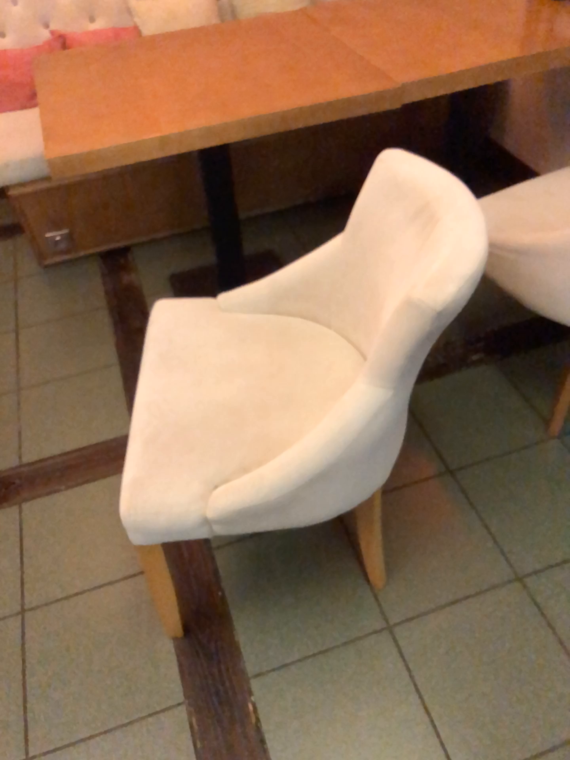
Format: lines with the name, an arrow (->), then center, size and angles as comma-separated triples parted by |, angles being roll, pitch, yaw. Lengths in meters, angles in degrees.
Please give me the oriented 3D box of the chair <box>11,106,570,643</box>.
chair -> 0.014, 0.002, 1.217 | 0.660, 0.736, 0.633 | -6, 44, 0
